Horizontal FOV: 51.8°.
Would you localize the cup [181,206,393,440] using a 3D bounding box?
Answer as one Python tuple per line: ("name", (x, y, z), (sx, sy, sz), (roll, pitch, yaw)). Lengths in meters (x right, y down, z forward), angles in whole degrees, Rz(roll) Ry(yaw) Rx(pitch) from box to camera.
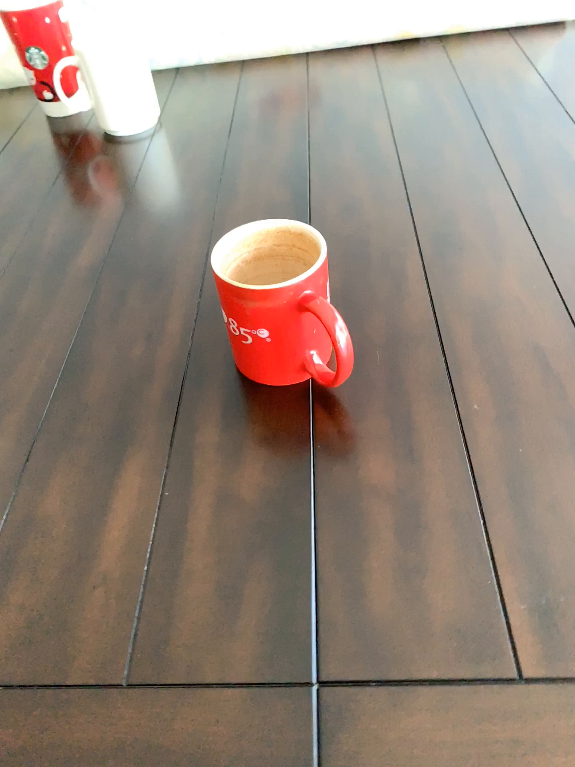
("cup", (-0.001, -0.049, 0.435), (0.090, 0.090, 0.131), (-28, 49, -18))
